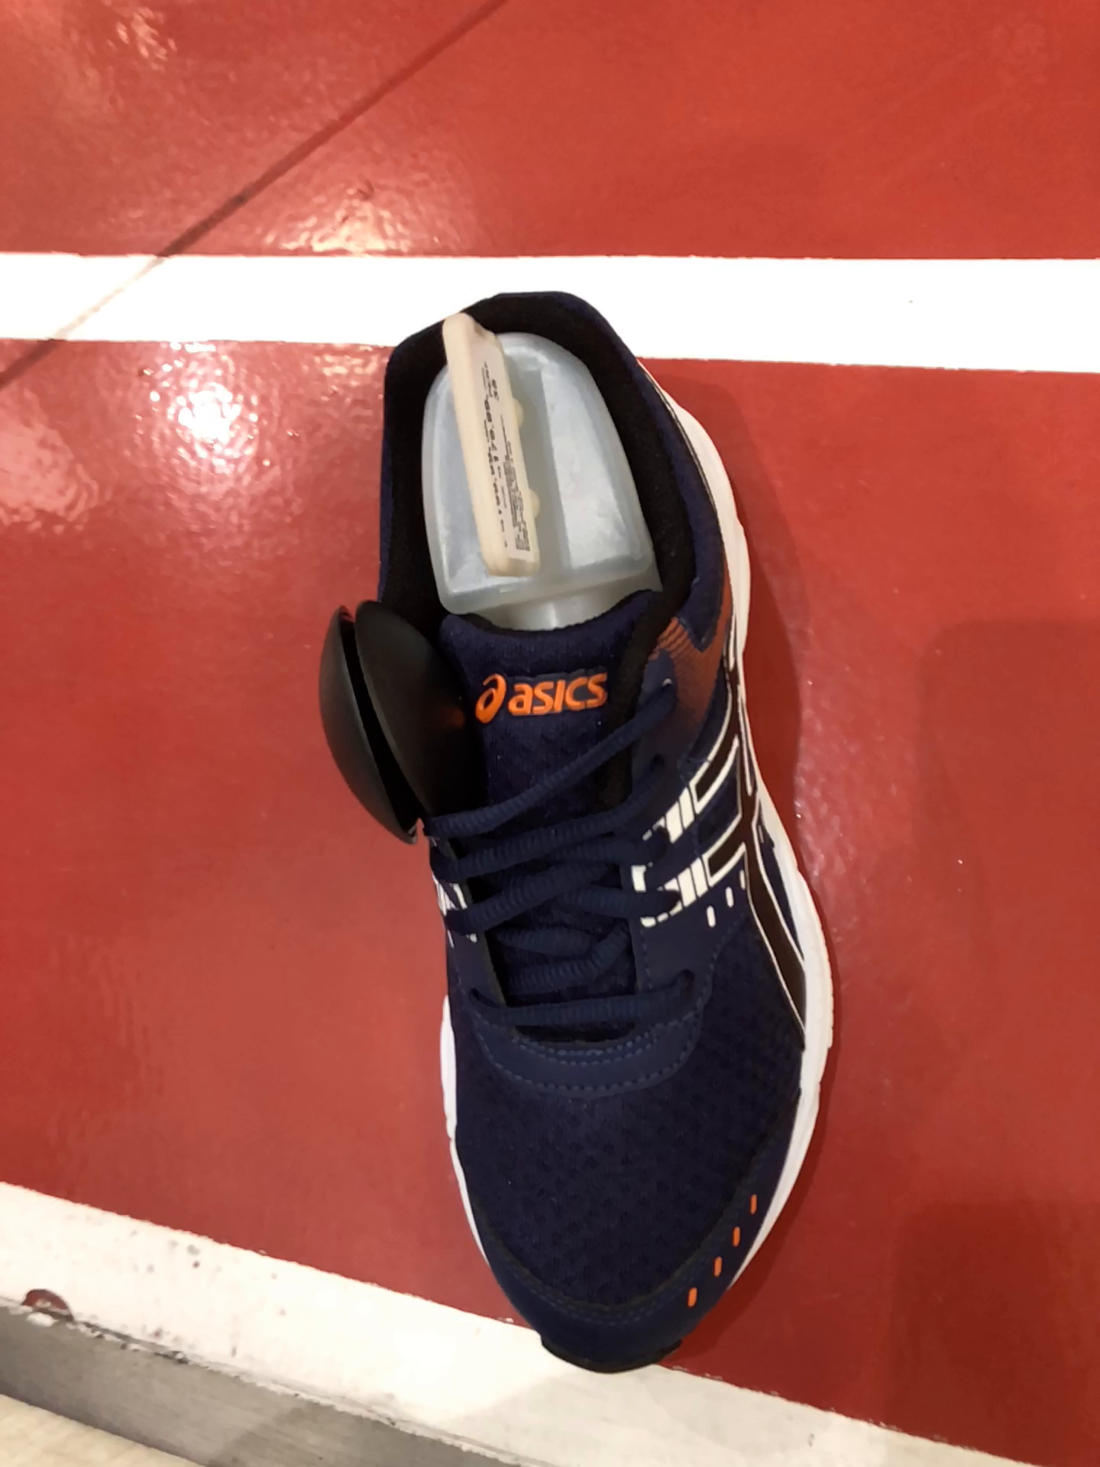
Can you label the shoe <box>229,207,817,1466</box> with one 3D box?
[{"bbox_3d":[-0.003,0.022,0.287,0.100,0.100,0.240,-6,76,15],"label":"shoe"}]
